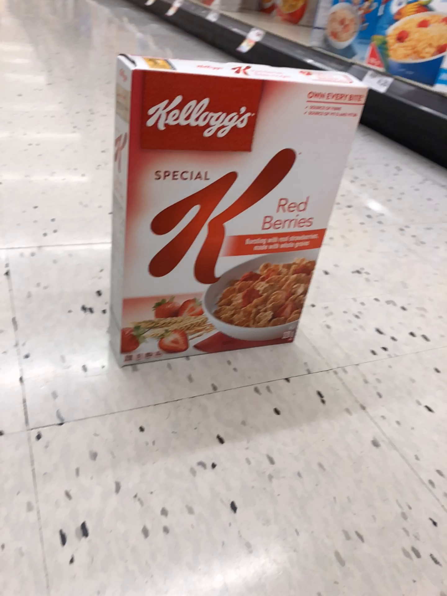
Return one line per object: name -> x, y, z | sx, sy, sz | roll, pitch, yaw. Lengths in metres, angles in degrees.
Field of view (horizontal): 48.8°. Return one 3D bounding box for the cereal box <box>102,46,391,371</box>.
cereal box -> 0.006, -0.066, 0.442 | 0.210, 0.258, 0.060 | -5, 36, -23
